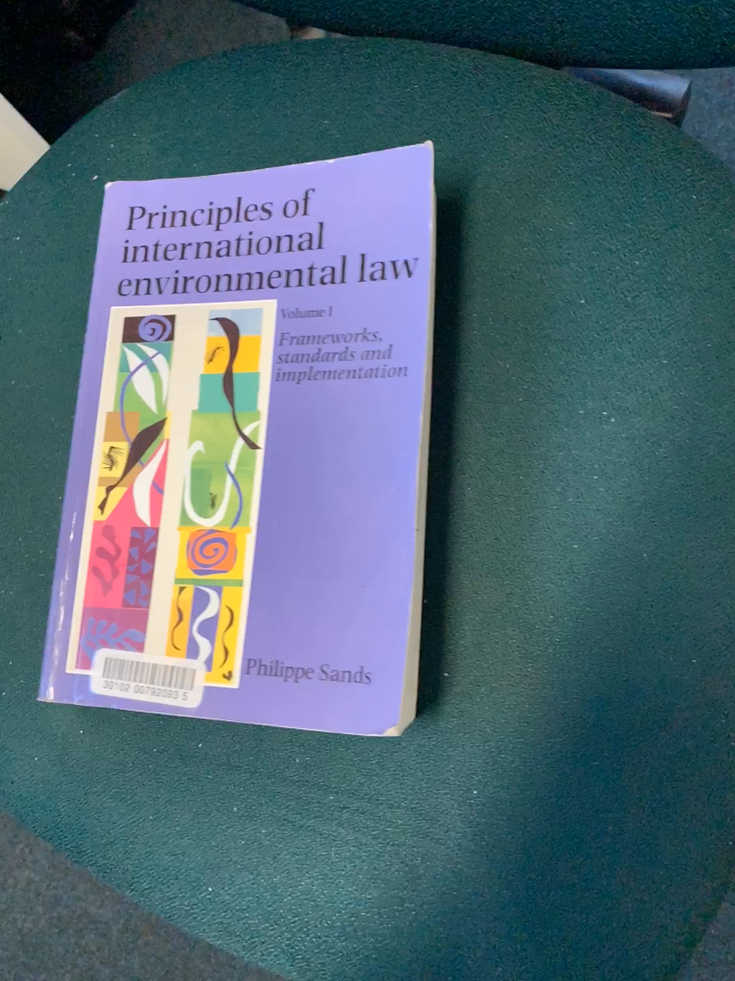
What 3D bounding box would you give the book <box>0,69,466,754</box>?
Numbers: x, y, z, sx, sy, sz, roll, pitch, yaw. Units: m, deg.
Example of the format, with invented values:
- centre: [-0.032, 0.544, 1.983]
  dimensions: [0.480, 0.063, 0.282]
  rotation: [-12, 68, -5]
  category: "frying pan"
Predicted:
- centre: [-0.054, -0.037, 0.333]
  dimensions: [0.180, 0.050, 0.271]
  rotation: [0, 77, 16]
  category: "book"
